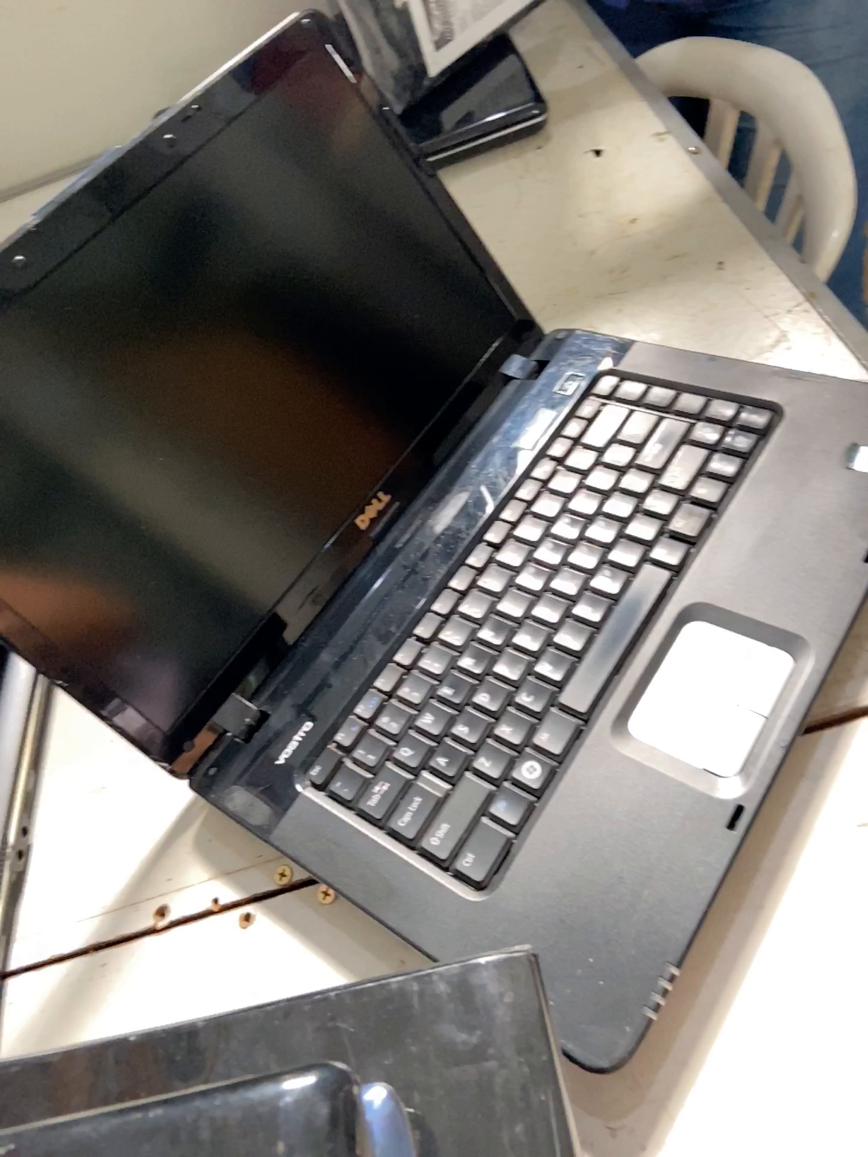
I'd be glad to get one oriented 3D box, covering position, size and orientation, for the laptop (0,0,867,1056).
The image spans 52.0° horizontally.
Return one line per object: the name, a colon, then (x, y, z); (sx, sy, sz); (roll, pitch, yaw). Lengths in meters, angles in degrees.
laptop: (0.002, -0.076, 0.418); (0.353, 0.203, 0.365); (21, 63, 33)
